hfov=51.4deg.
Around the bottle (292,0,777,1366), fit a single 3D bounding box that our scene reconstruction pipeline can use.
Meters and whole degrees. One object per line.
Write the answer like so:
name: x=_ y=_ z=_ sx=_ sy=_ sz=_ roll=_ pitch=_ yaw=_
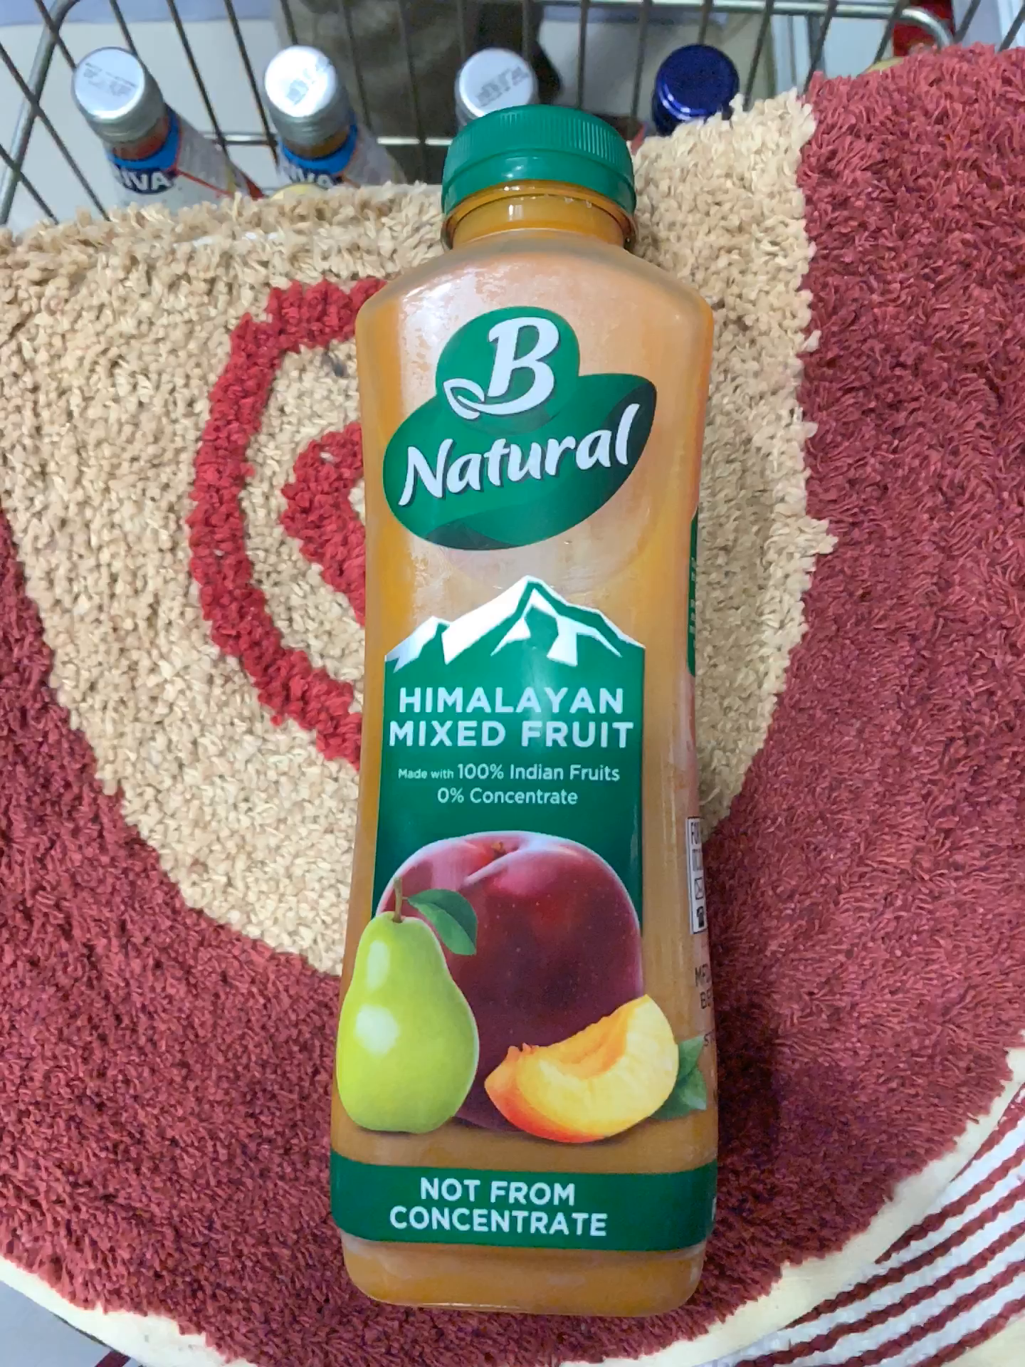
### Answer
bottle: x=0.008 y=-0.009 z=0.206 sx=0.070 sy=0.070 sz=0.230 roll=1 pitch=81 yaw=3
